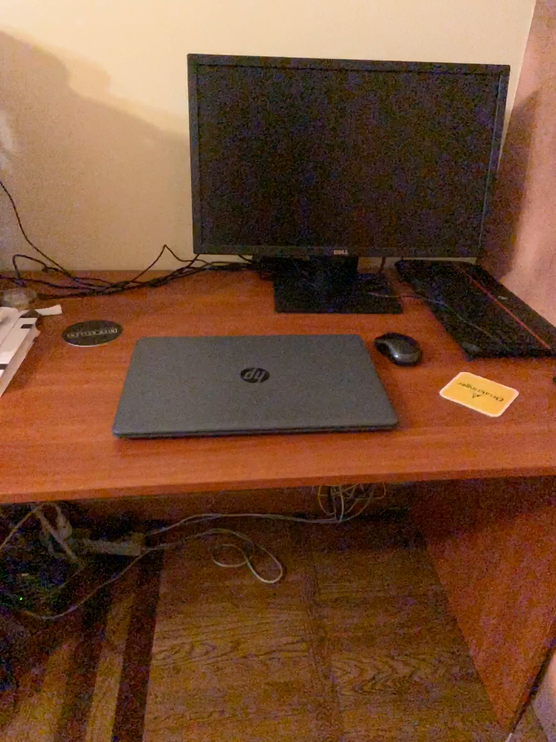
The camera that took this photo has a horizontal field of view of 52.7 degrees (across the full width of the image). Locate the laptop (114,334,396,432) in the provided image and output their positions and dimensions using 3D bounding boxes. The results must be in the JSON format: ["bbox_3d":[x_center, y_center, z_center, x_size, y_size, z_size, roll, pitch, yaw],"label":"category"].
[{"bbox_3d":[-0.039,0.008,0.838,0.368,0.005,0.248,-1,32,-5],"label":"laptop"}]
